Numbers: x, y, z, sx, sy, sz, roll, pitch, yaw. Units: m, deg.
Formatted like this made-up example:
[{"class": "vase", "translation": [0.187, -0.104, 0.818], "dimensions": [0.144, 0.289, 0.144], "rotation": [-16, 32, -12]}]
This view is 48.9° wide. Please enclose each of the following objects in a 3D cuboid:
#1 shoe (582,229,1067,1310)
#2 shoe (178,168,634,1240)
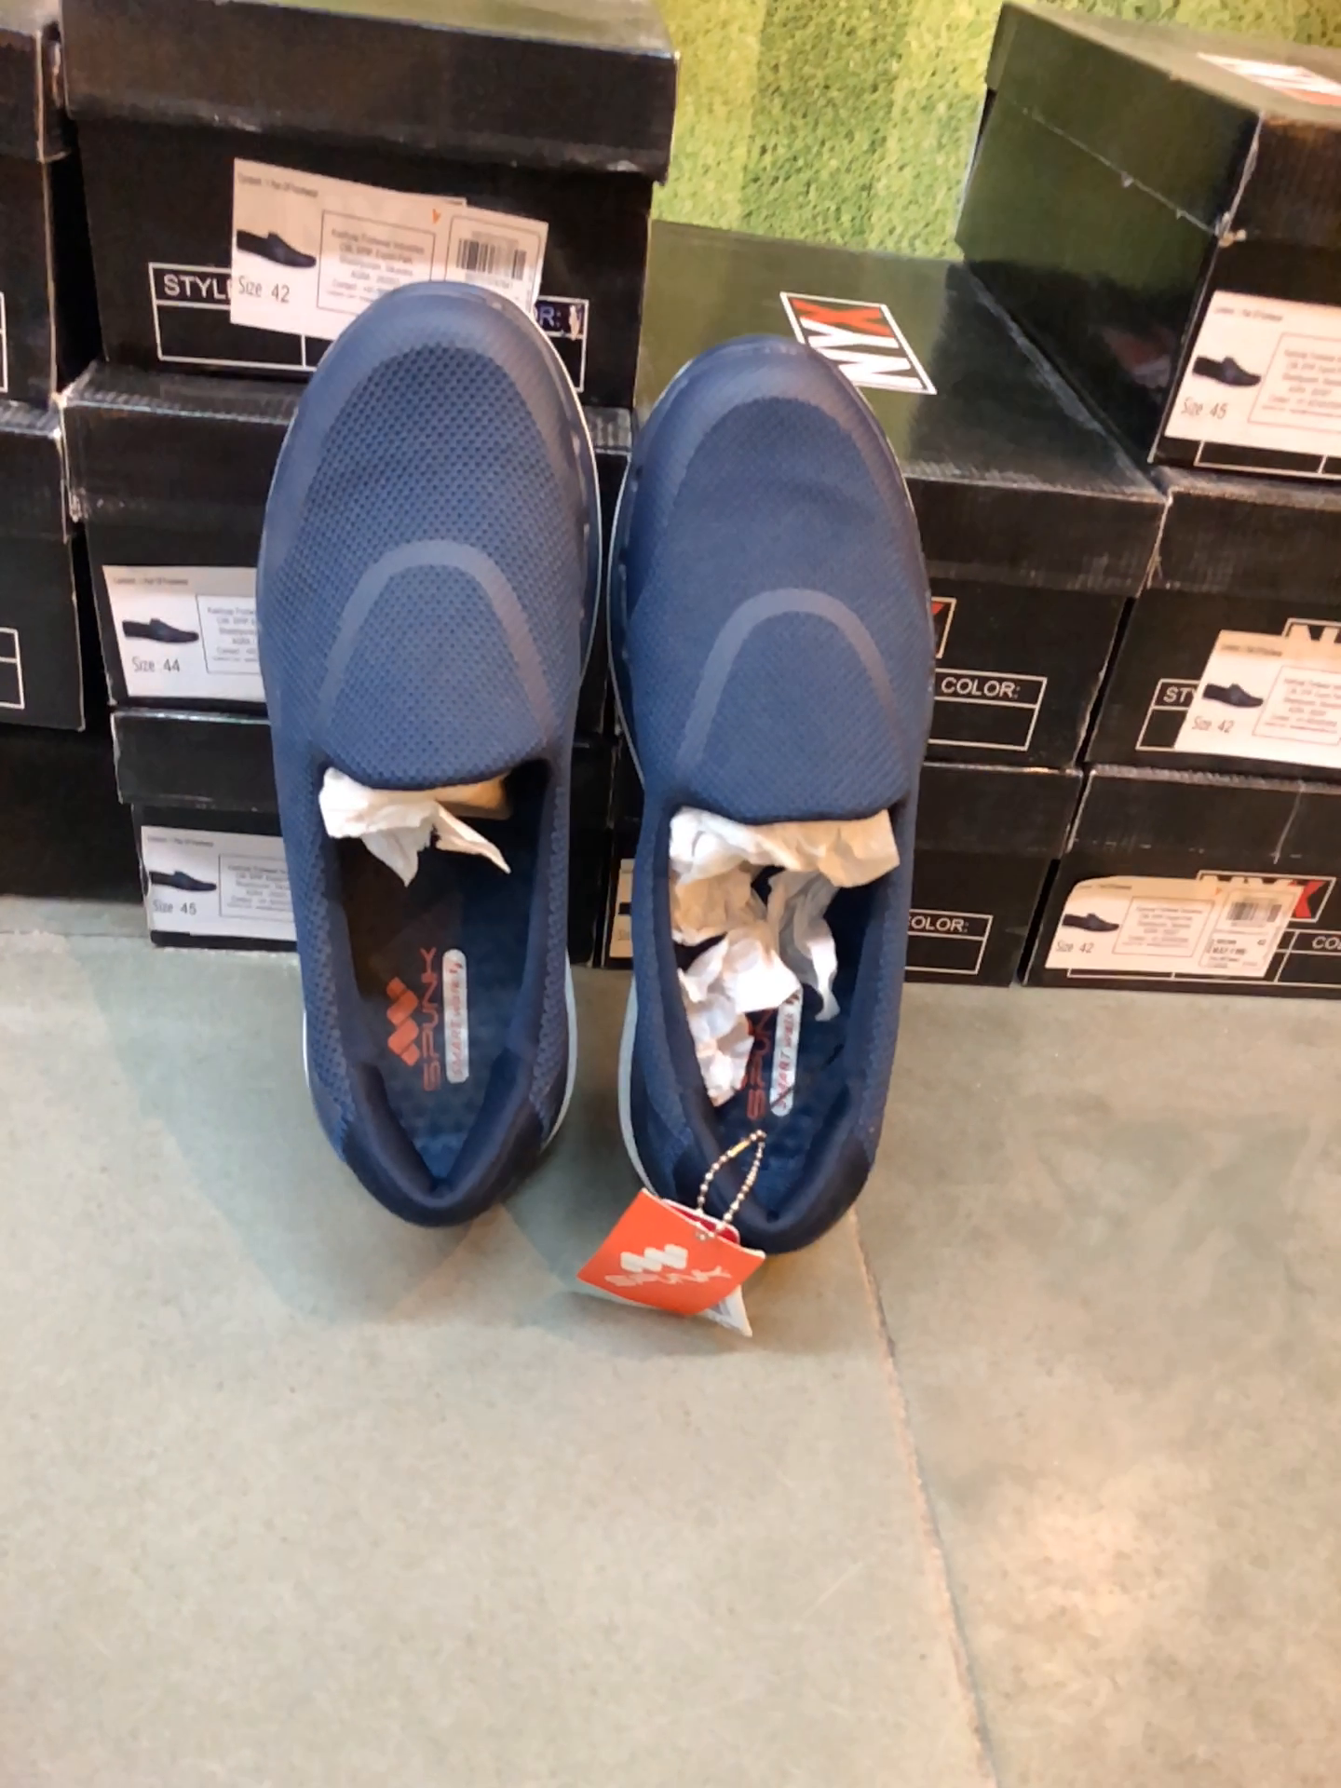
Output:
[{"class": "shoe", "translation": [0.034, -0.031, 0.427], "dimensions": [0.107, 0.273, 0.099], "rotation": [1, 9, -7]}, {"class": "shoe", "translation": [-0.073, -0.050, 0.437], "dimensions": [0.109, 0.273, 0.110], "rotation": [0, 11, -6]}]
